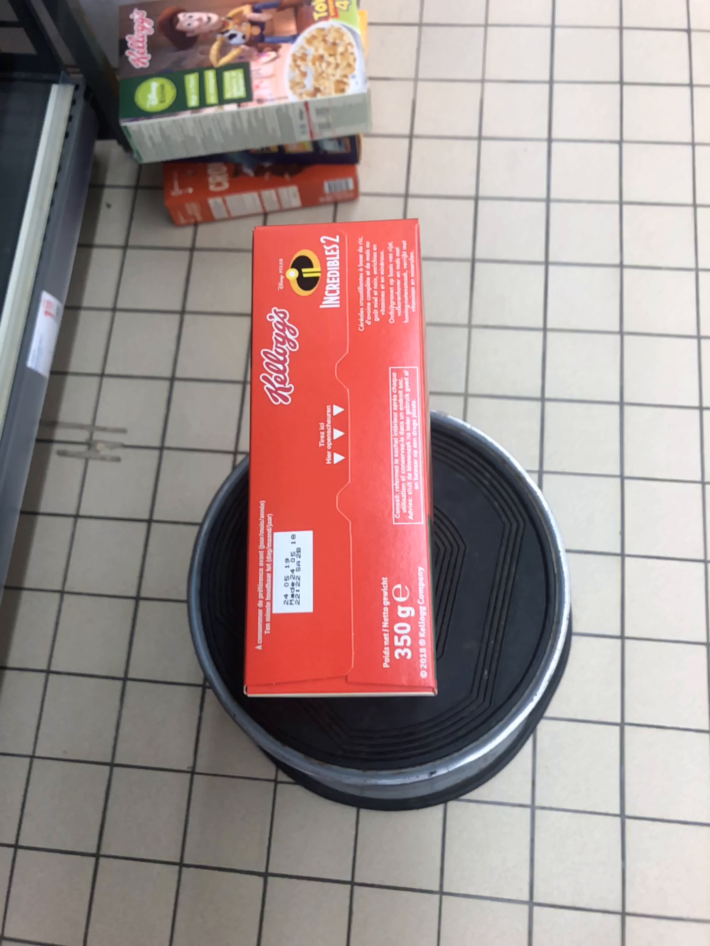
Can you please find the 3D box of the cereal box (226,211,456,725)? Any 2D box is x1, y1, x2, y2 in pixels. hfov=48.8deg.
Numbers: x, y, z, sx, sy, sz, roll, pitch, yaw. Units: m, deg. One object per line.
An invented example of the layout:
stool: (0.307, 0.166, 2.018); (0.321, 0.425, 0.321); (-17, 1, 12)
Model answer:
cereal box: (0.007, 0.030, 0.446); (0.080, 0.310, 0.200); (-2, 75, 5)
